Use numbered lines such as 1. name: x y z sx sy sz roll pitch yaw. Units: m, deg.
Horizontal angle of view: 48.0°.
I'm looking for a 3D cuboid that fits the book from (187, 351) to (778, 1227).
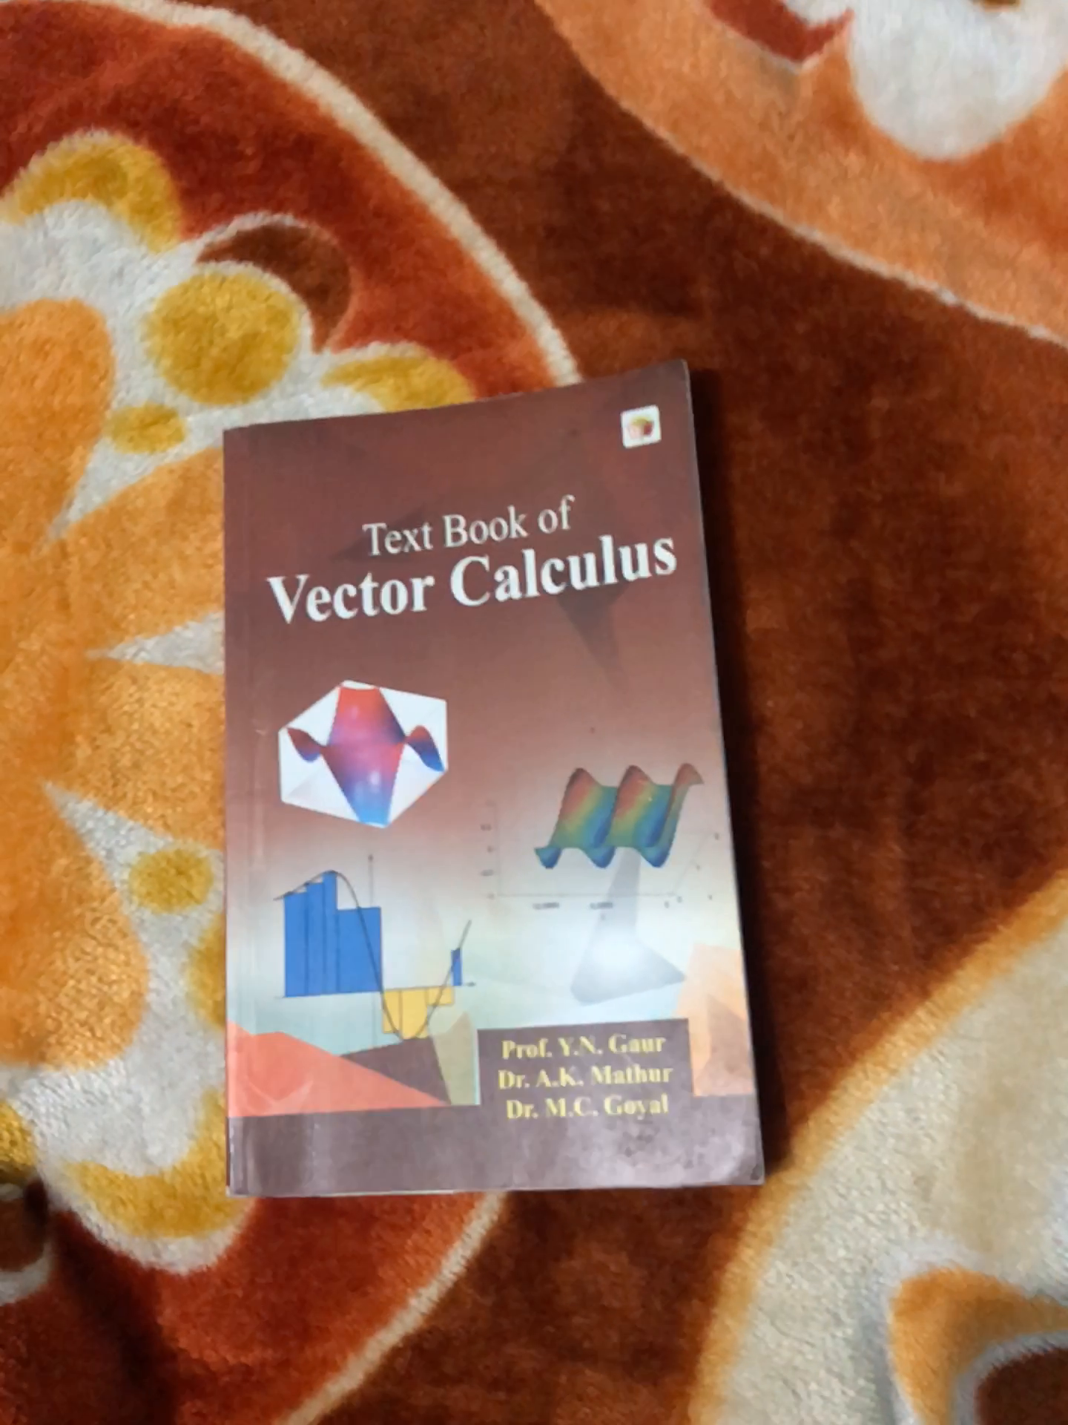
1. book: -0.020 0.017 0.312 0.140 0.020 0.210 -6 77 9
